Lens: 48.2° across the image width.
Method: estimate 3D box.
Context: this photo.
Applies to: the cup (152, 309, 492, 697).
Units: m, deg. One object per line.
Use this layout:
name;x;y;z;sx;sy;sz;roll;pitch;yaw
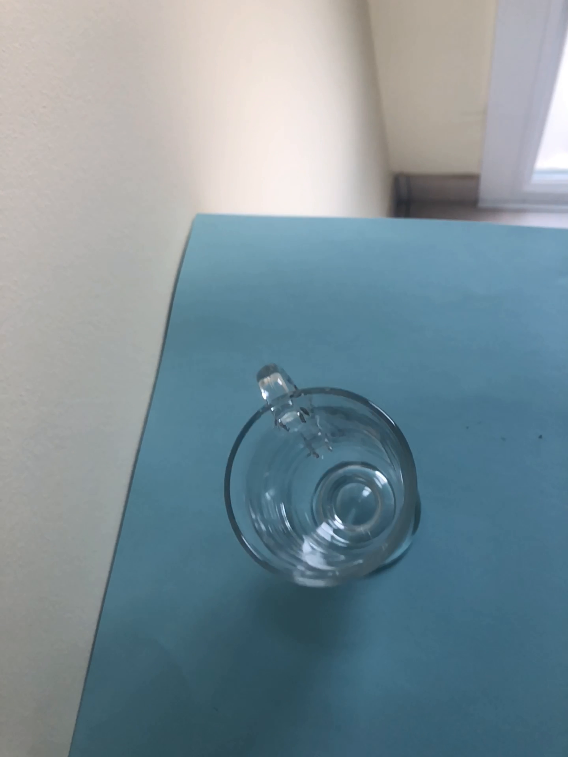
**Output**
cup;0.021;0.050;0.258;0.070;0.120;0.100;-31;71;4
